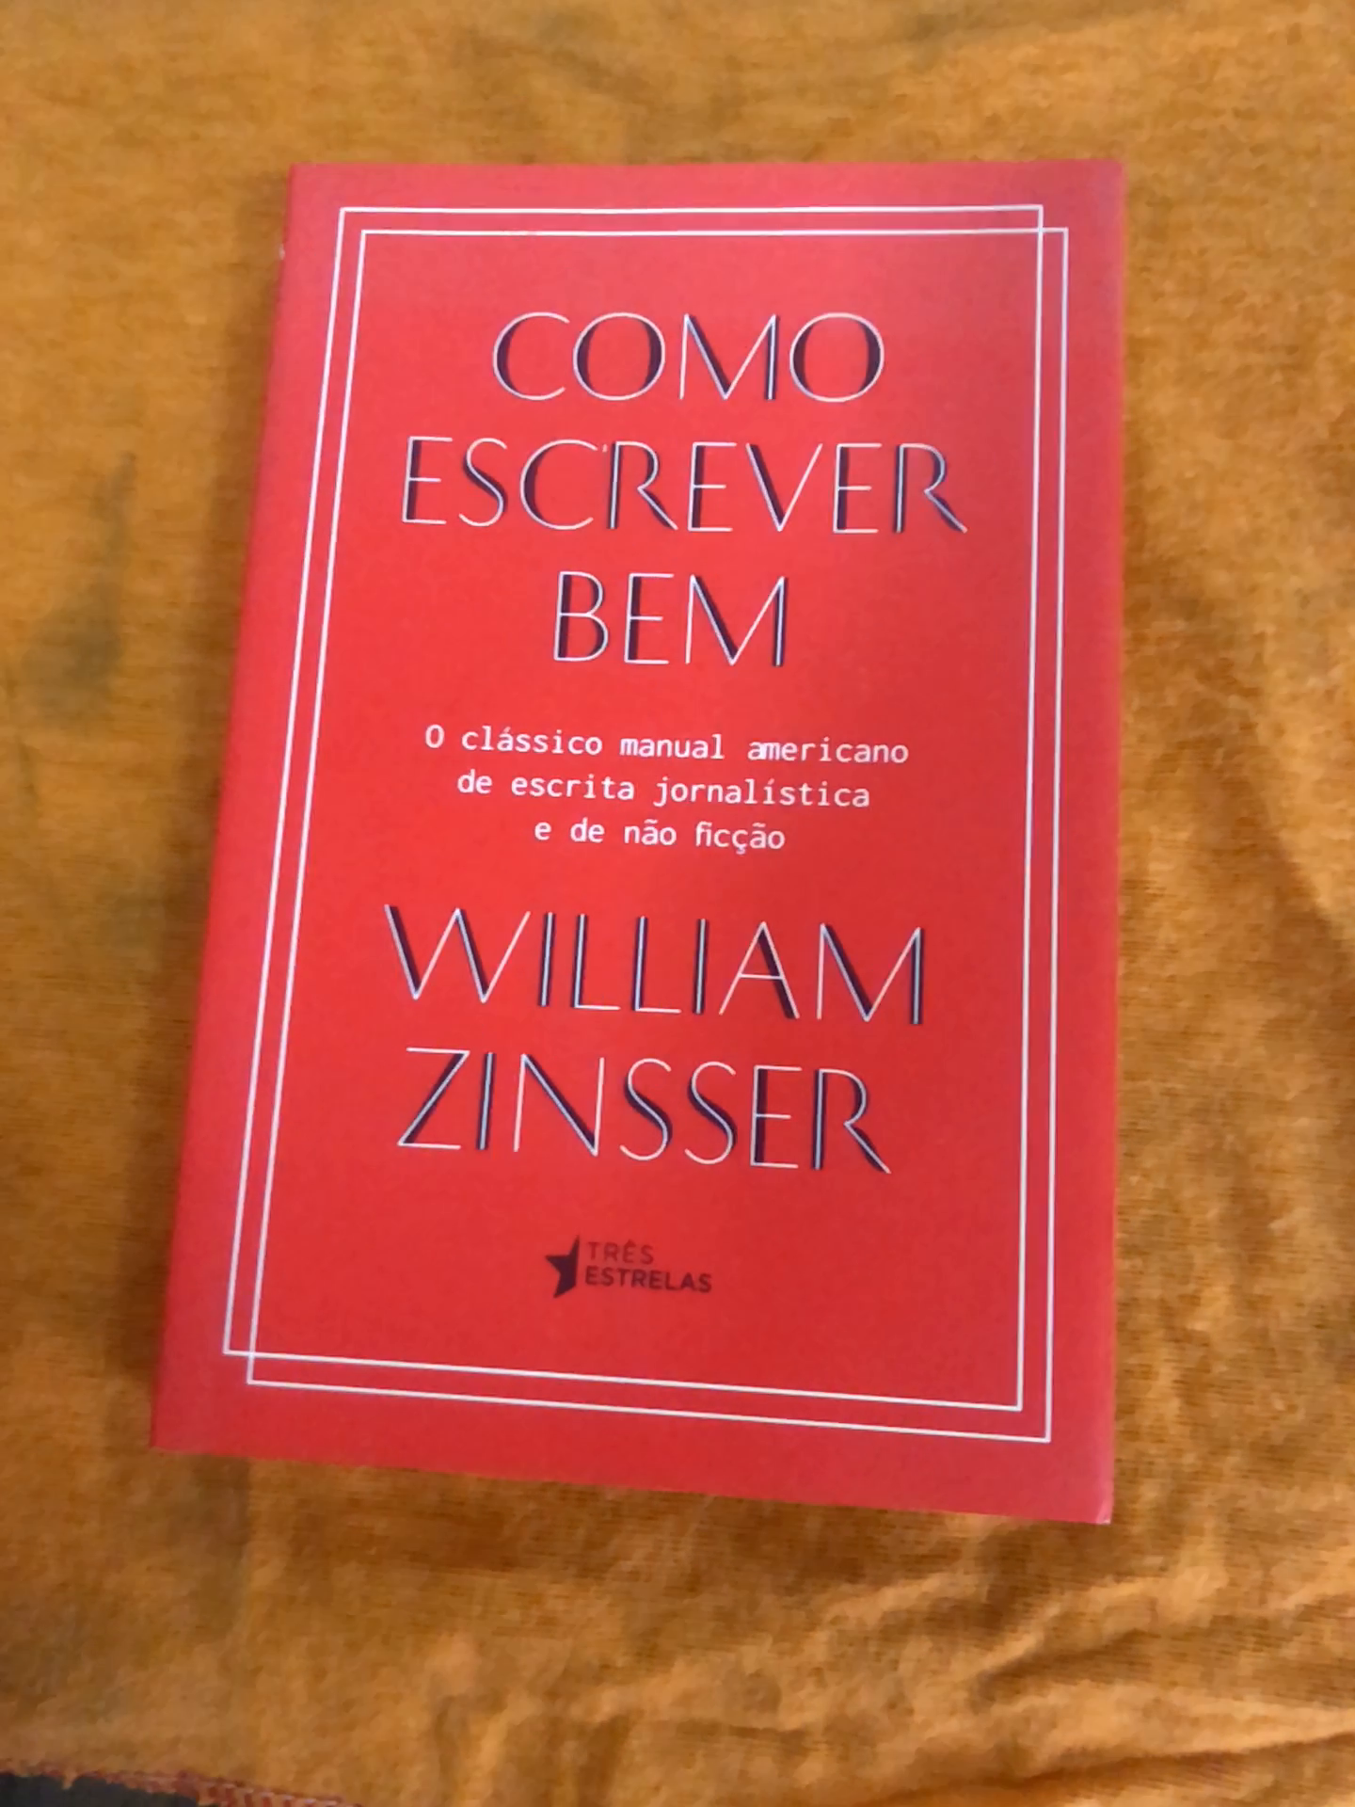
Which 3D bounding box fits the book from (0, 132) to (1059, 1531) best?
[{"bbox_3d":[-0.018,-0.018,0.224,0.140,0.020,0.195,2,81,6],"label":"book"}]
